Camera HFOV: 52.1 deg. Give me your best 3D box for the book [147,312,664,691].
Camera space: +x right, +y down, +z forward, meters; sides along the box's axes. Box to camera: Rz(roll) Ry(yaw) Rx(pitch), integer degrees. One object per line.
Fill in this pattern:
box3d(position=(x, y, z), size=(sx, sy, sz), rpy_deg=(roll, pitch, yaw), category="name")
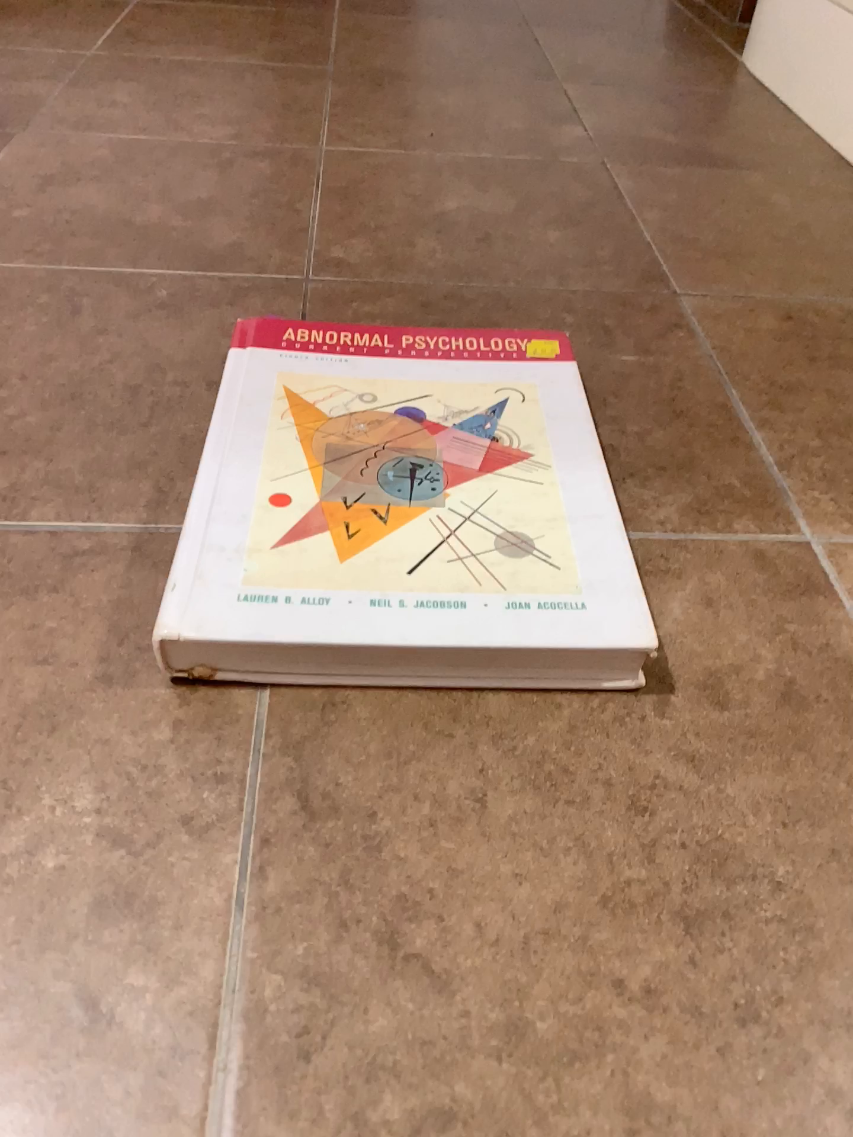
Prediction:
box3d(position=(-0.013, -0.057, 0.491), size=(0.222, 0.031, 0.290), rpy_deg=(1, 43, -4), category="book")
